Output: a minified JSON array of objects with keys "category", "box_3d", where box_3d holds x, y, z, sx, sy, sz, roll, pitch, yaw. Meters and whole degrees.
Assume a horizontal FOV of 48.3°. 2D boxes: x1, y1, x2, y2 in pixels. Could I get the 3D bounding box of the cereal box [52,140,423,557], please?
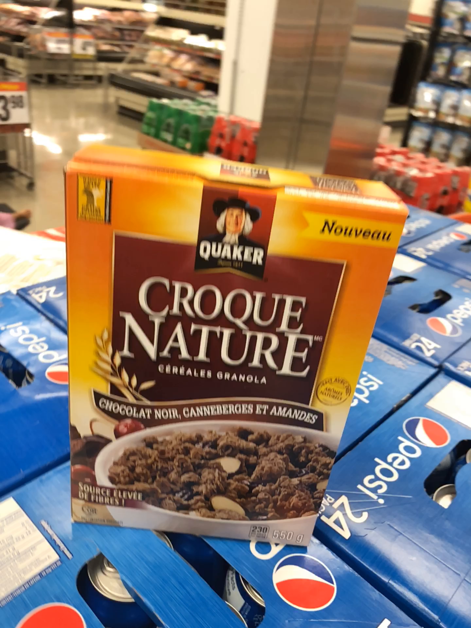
[{"category":"cereal box","box_3d":[-0.010,0.032,0.307,0.160,0.229,0.060,7,29,-1]}]
